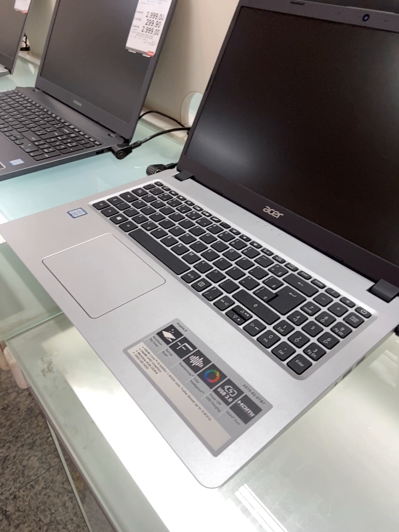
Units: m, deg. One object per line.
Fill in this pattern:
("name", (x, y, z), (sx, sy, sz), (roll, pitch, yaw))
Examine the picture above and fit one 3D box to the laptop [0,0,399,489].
("laptop", (0.032, -0.110, 0.389), (0.373, 0.205, 0.367), (-27, 46, -30))
